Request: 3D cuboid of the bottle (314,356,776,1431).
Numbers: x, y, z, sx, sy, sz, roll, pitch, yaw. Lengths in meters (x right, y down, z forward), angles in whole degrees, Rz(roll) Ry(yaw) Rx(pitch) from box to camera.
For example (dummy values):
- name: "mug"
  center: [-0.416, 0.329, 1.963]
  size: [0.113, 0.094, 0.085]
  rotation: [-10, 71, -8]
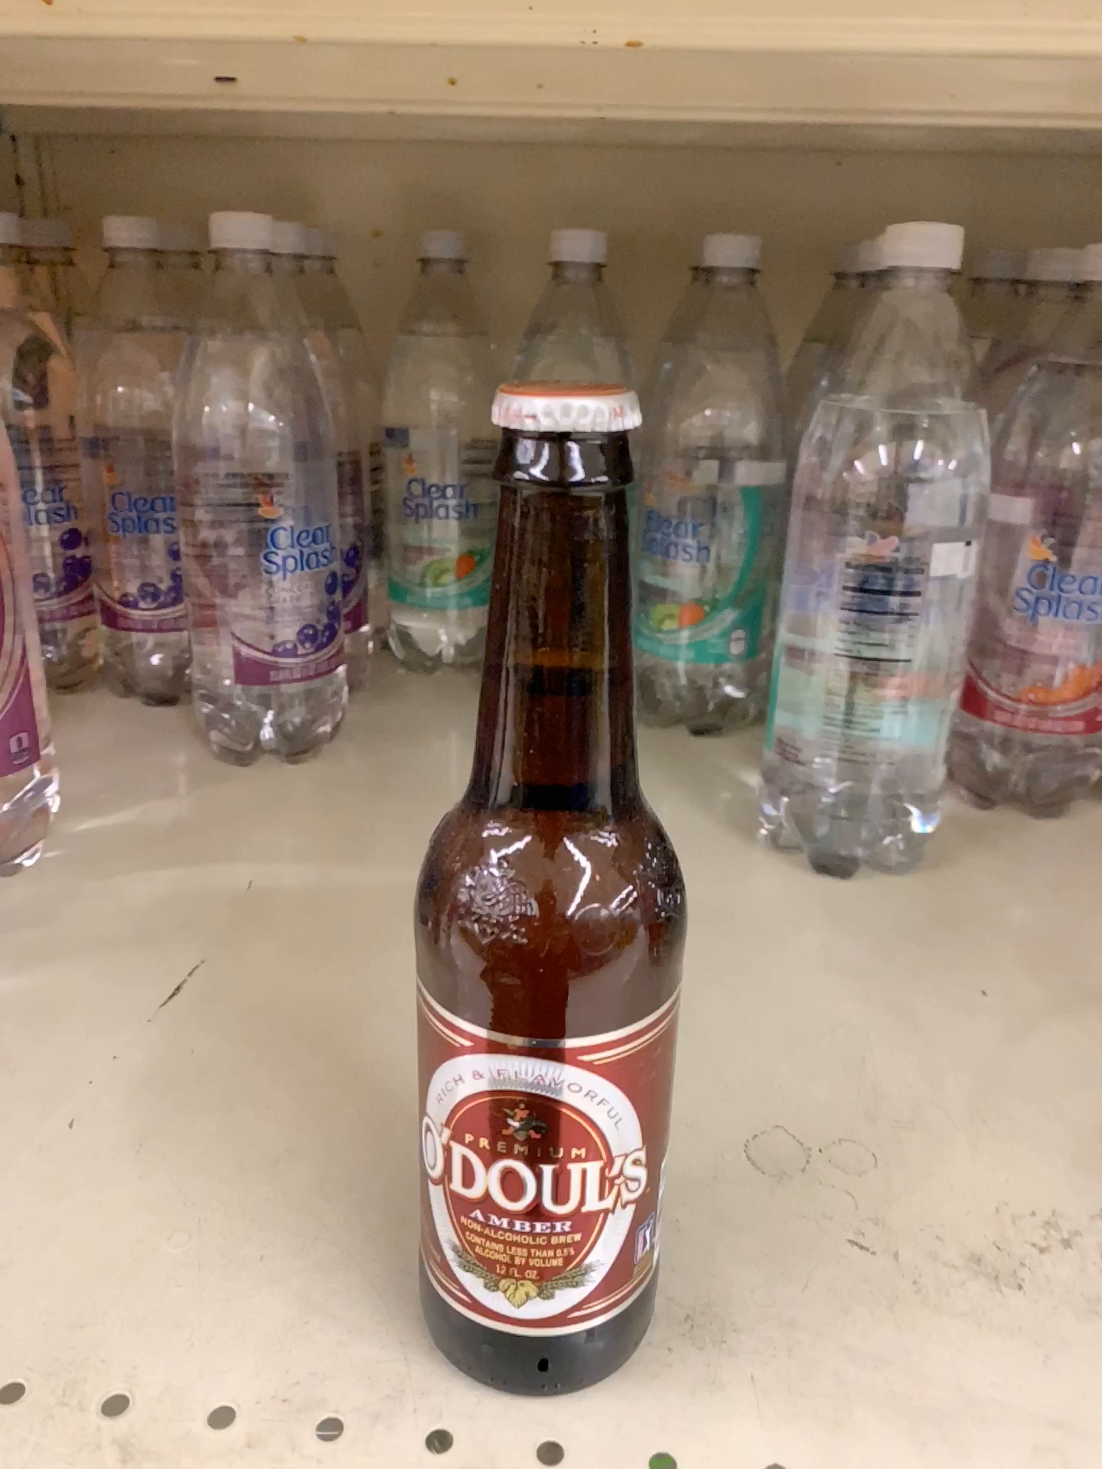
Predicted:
- name: "bottle"
  center: [0.001, 0.036, 0.250]
  size: [0.070, 0.219, 0.070]
  rotation: [1, 22, -1]
